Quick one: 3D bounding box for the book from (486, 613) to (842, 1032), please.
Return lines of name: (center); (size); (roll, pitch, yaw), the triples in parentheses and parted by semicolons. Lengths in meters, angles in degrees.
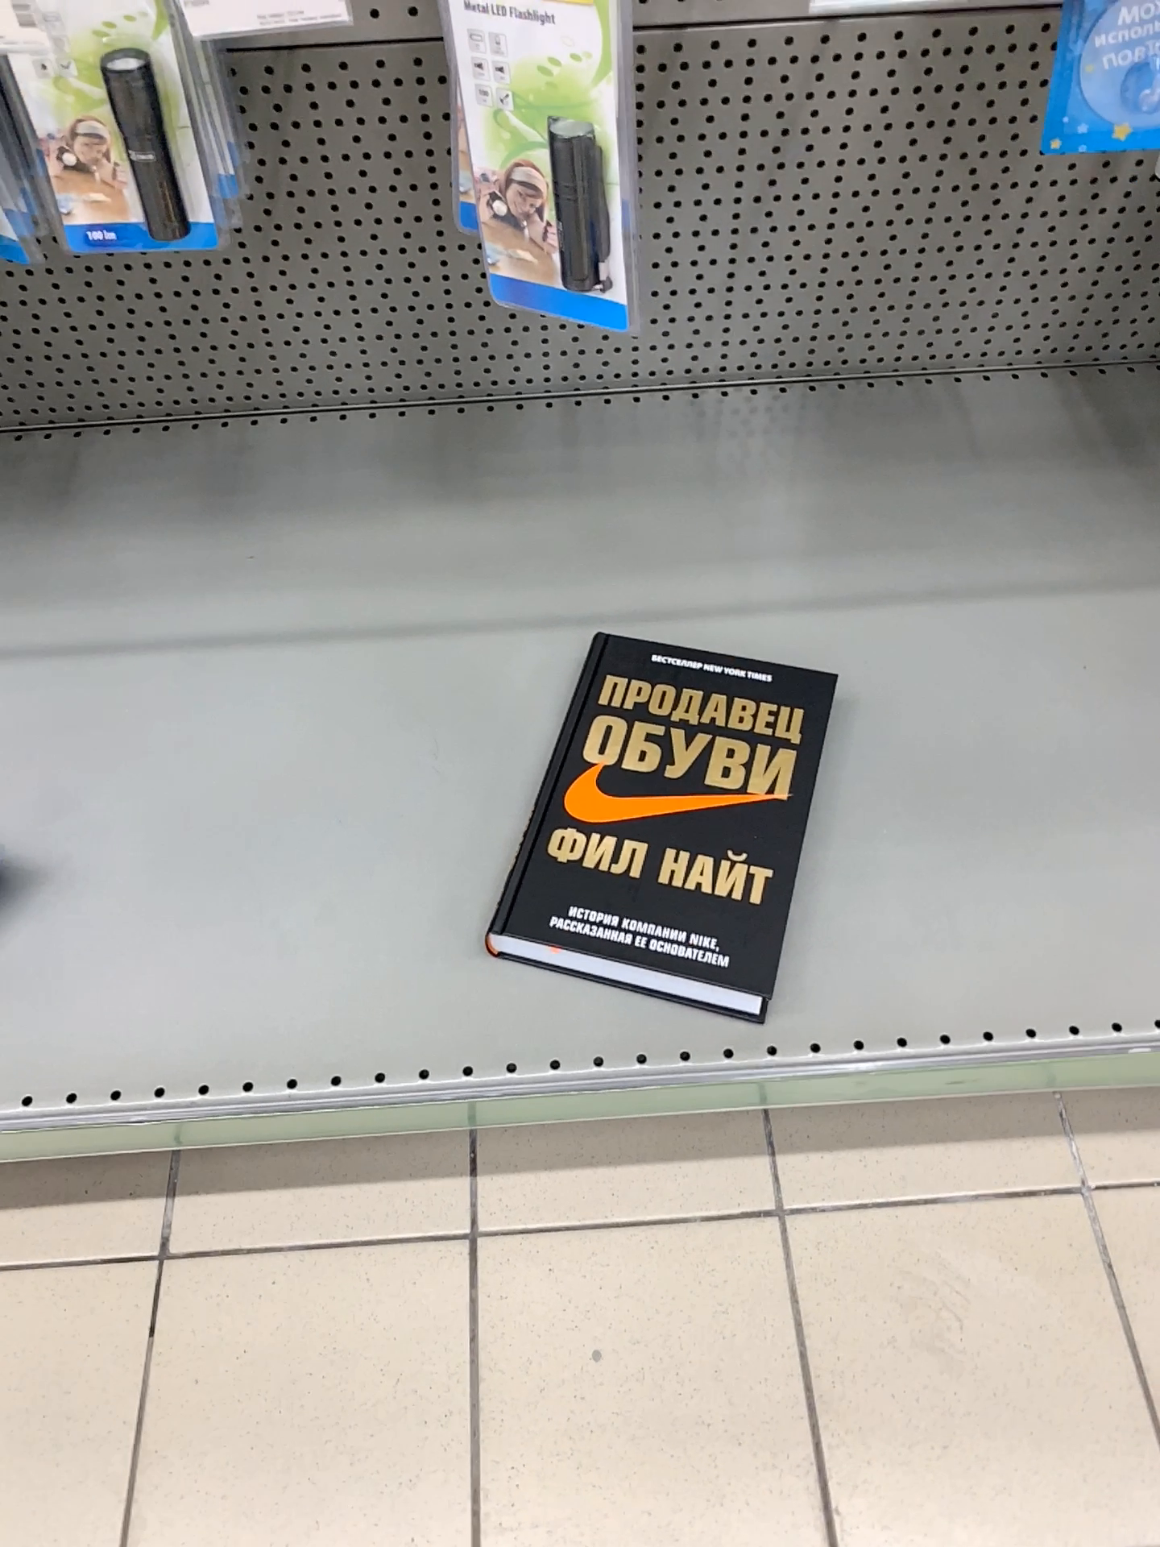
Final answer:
book: (0.061, 0.020, 0.754); (0.166, 0.049, 0.250); (12, 56, 10)
